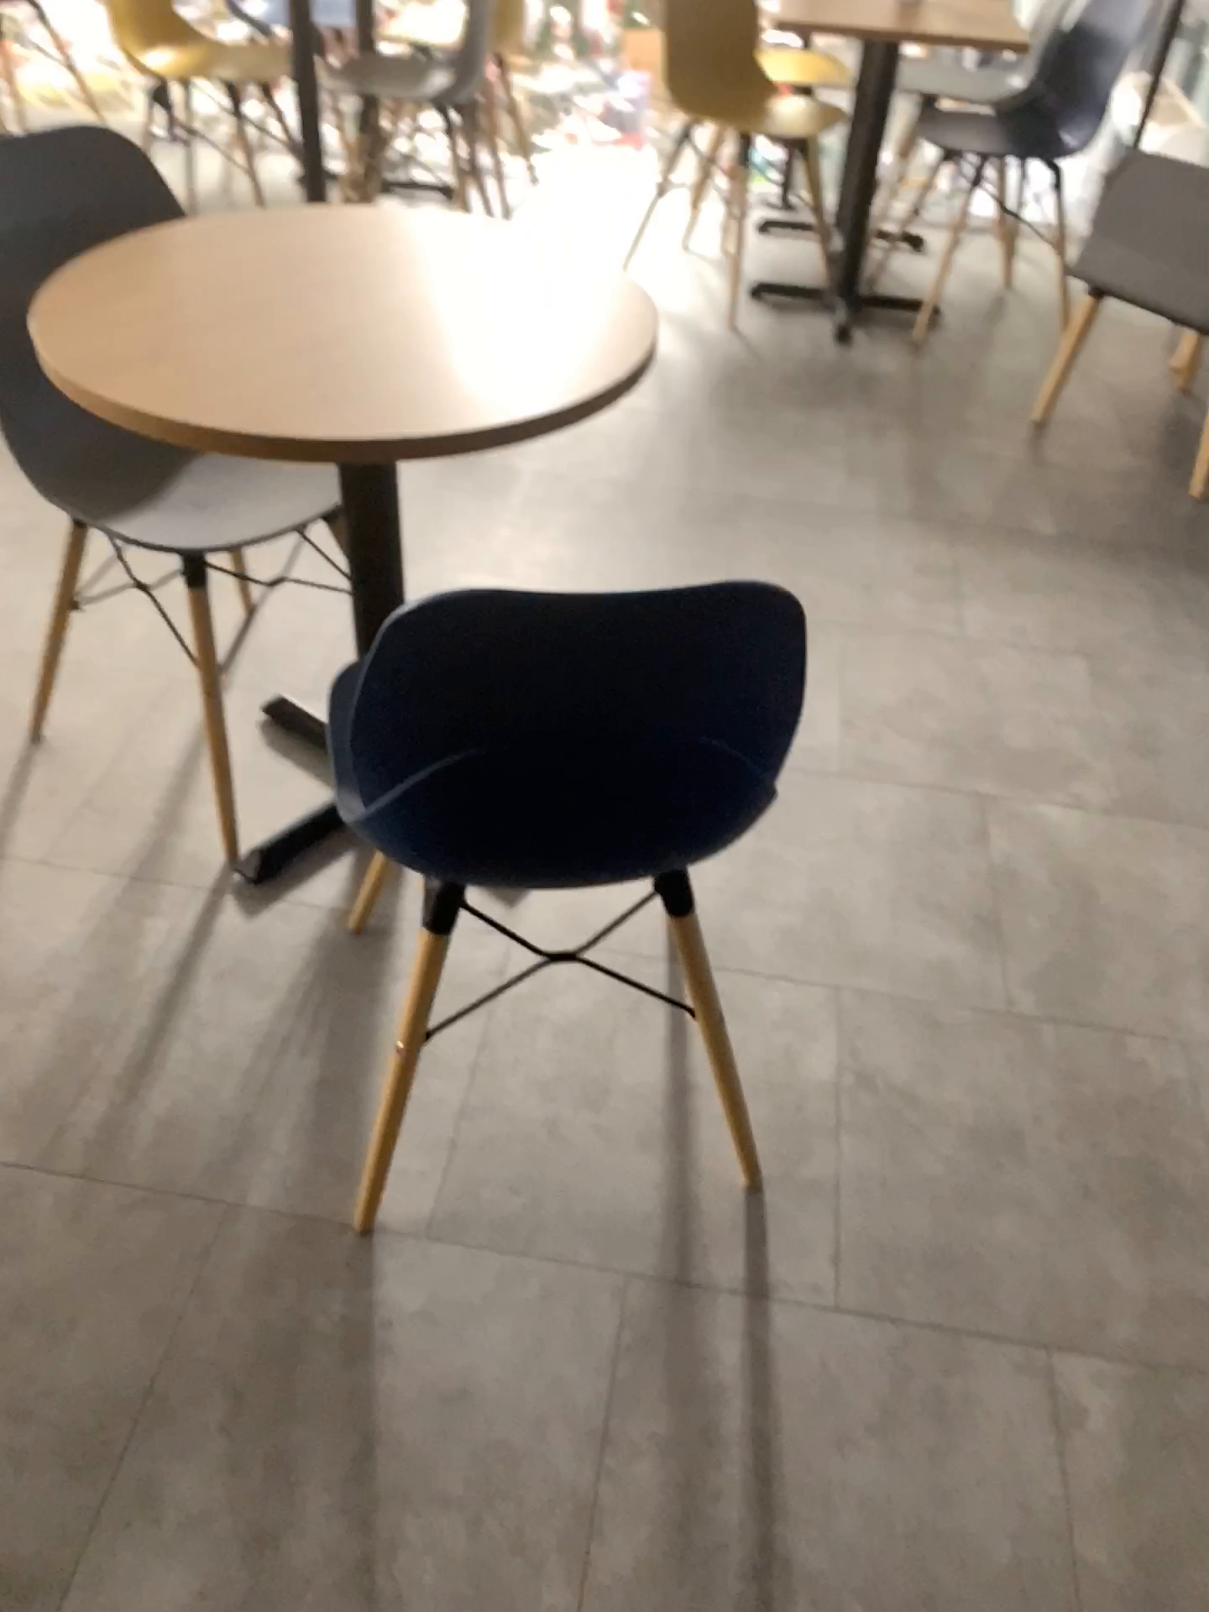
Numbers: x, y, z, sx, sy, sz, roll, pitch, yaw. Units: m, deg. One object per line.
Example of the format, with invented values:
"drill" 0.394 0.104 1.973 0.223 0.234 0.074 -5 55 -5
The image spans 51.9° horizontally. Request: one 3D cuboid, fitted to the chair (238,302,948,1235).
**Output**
"chair" -0.059 -0.023 1.294 0.490 0.808 0.501 -4 42 -9
